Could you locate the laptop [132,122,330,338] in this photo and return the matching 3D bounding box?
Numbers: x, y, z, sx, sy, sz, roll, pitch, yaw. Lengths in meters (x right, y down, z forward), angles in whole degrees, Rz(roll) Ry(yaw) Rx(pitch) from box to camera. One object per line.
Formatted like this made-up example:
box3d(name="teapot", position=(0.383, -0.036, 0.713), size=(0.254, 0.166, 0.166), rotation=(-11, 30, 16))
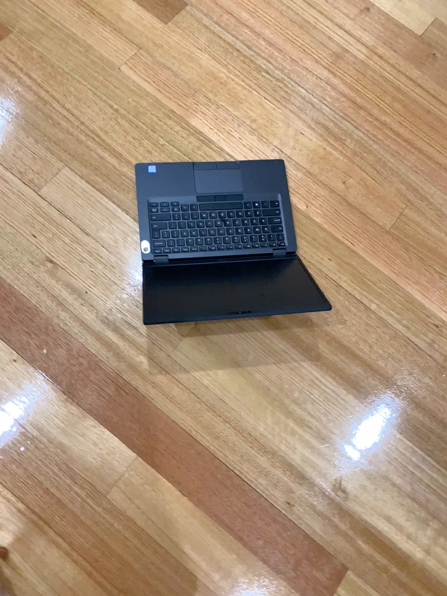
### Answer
box3d(name="laptop", position=(0.000, -0.133, 0.877), size=(0.320, 0.134, 0.372), rotation=(-4, 75, -8))
